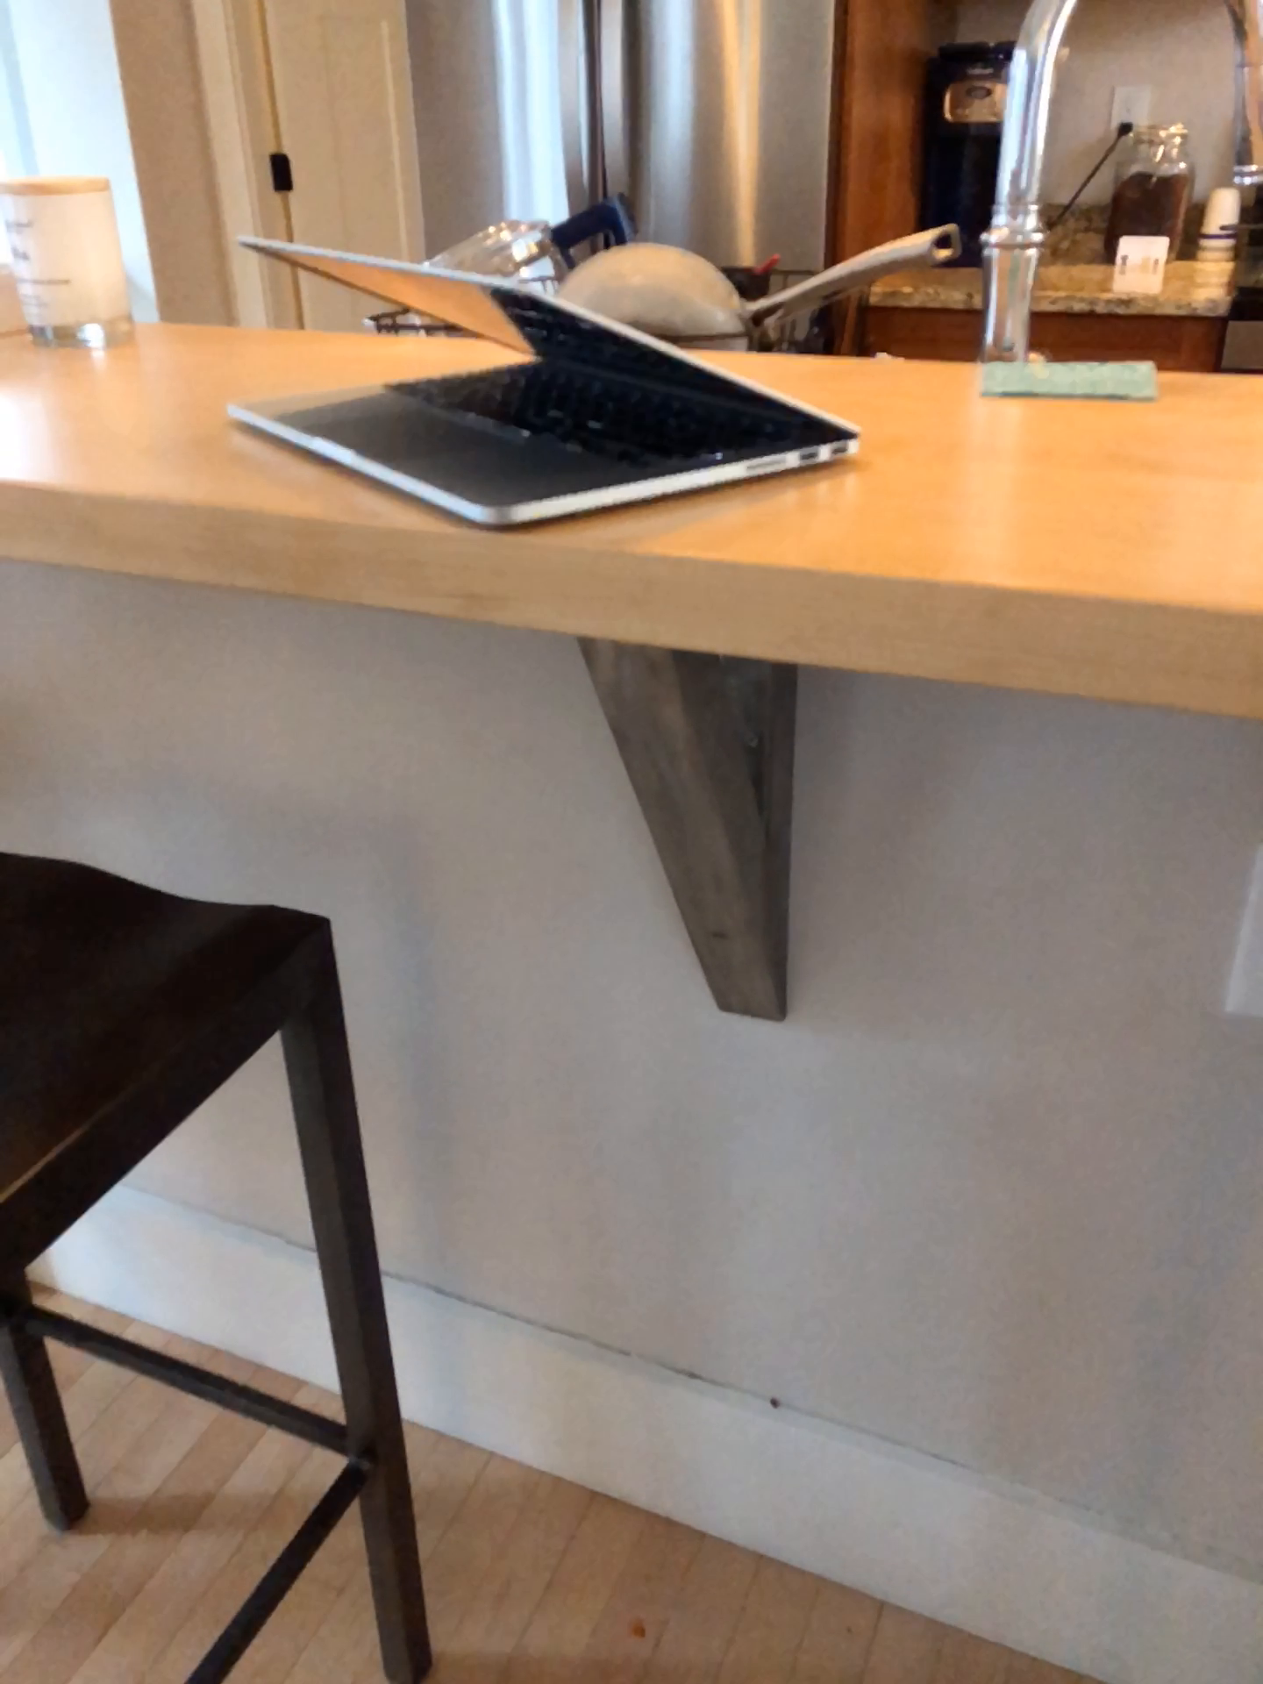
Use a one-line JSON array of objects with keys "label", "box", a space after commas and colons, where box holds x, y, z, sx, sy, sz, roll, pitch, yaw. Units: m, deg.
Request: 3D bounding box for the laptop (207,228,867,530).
[{"label": "laptop", "box": [-0.061, -0.256, 0.710, 0.211, 0.084, 0.301, -19, 33, -29]}]
